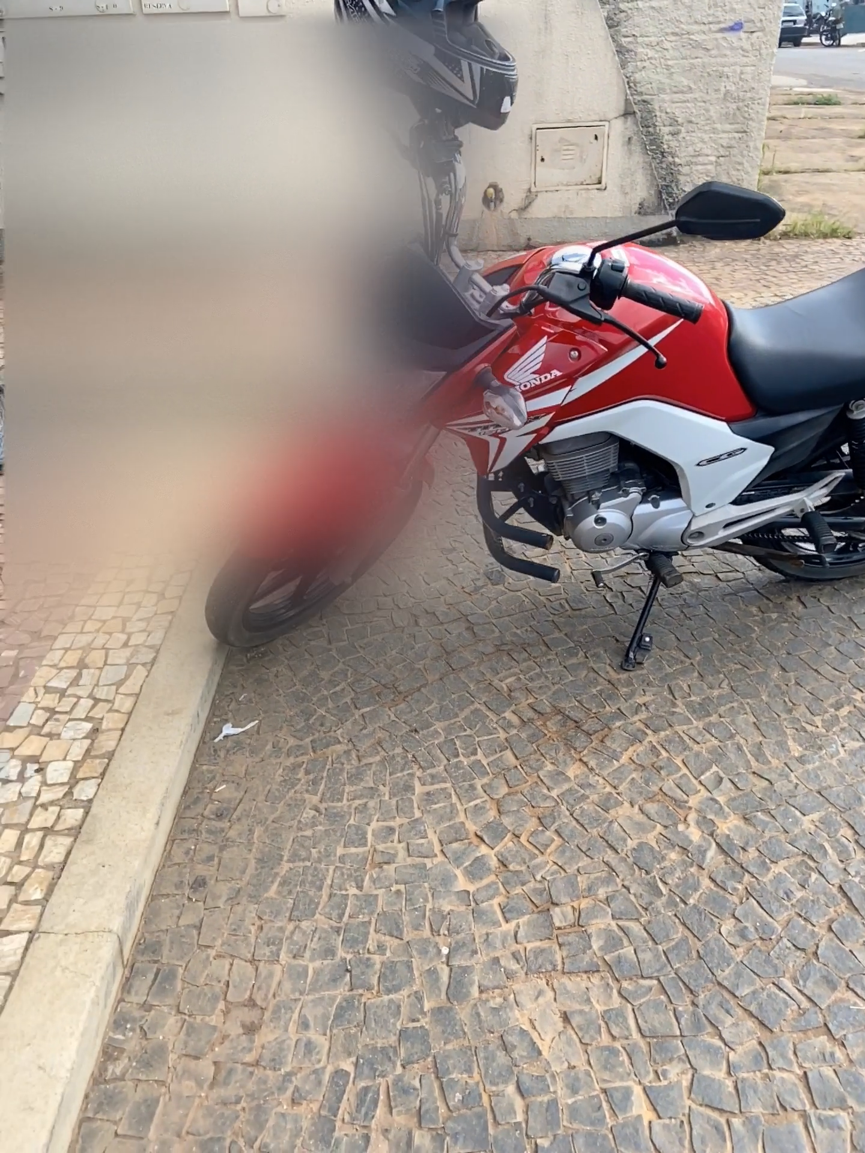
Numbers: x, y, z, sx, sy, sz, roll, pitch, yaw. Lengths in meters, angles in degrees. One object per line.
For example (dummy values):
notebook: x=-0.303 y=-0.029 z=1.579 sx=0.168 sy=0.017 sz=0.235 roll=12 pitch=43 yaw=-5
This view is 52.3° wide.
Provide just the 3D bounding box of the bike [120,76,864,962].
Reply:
bike: x=0.544 y=-0.256 z=1.932 sx=2.071 sy=1.382 sz=0.813 roll=-11 pitch=31 yaw=-15
